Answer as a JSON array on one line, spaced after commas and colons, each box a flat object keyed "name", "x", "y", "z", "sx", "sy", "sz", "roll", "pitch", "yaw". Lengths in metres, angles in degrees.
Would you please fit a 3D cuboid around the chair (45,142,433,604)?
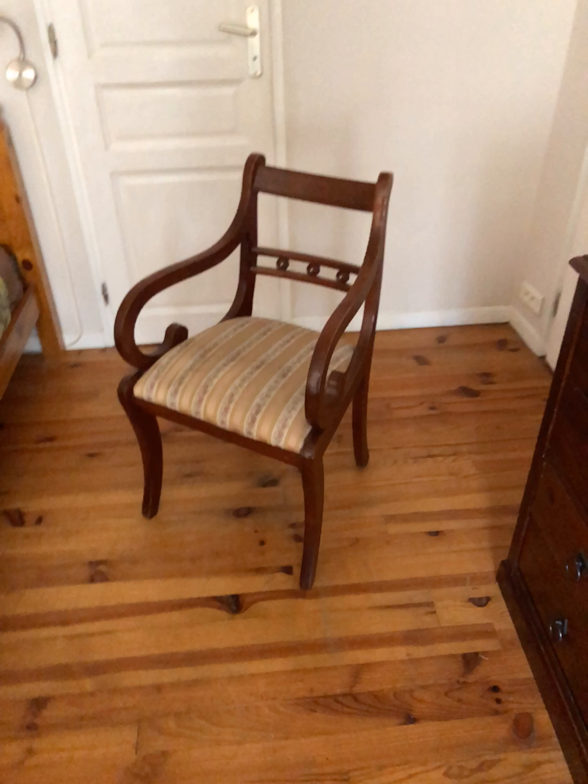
[{"name": "chair", "x": -0.087, "y": -0.080, "z": 1.567, "sx": 0.580, "sy": 0.825, "sz": 0.573, "roll": 18, "pitch": 39, "yaw": 26}]
